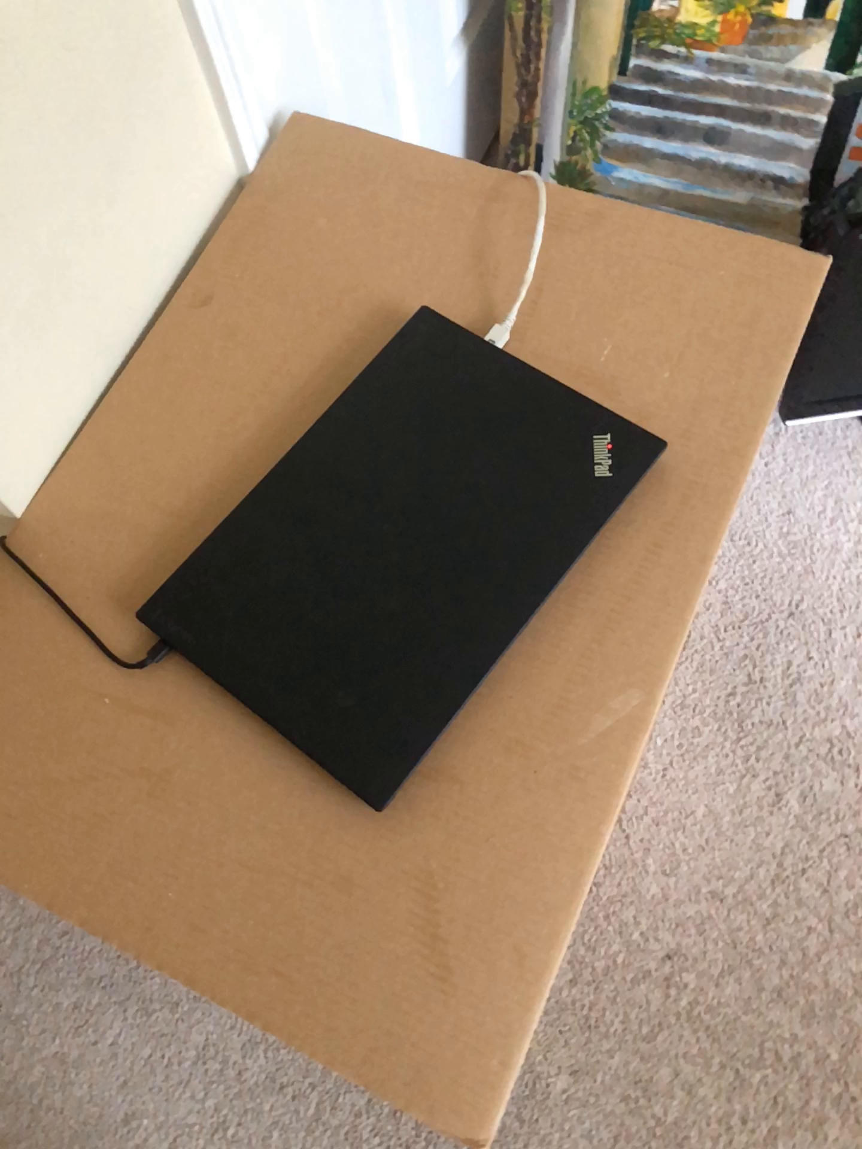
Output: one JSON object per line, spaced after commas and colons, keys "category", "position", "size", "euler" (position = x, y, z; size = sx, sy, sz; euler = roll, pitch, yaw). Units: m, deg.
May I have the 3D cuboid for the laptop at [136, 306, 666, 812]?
{"category": "laptop", "position": [-0.019, -0.034, 0.672], "size": [0.225, 0.002, 0.328], "euler": [34, 72, 20]}
